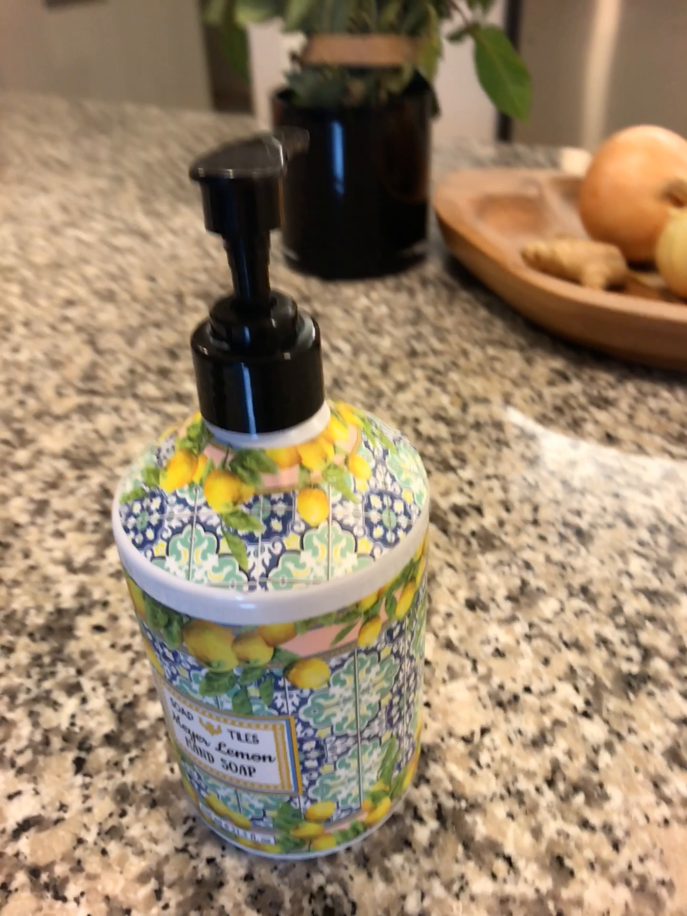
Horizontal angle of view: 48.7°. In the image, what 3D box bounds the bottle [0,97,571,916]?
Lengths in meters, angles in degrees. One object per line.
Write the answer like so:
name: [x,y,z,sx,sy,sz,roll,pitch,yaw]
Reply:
bottle: [-0.009,0.023,0.205,0.090,0.199,0.091,-2,36,1]
